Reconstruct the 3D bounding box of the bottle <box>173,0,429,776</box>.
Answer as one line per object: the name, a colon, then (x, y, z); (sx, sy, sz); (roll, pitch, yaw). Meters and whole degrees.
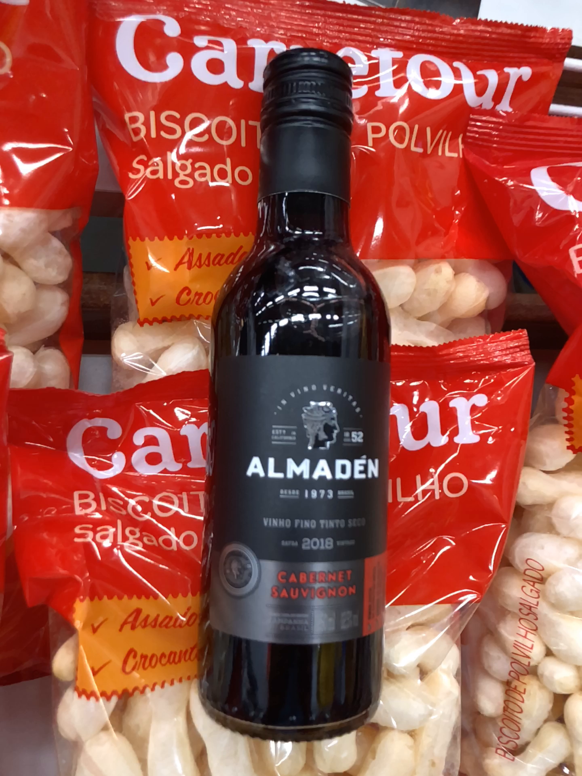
bottle: (0.002, -0.015, 0.203); (0.060, 0.060, 0.240); (4, 82, -14)
